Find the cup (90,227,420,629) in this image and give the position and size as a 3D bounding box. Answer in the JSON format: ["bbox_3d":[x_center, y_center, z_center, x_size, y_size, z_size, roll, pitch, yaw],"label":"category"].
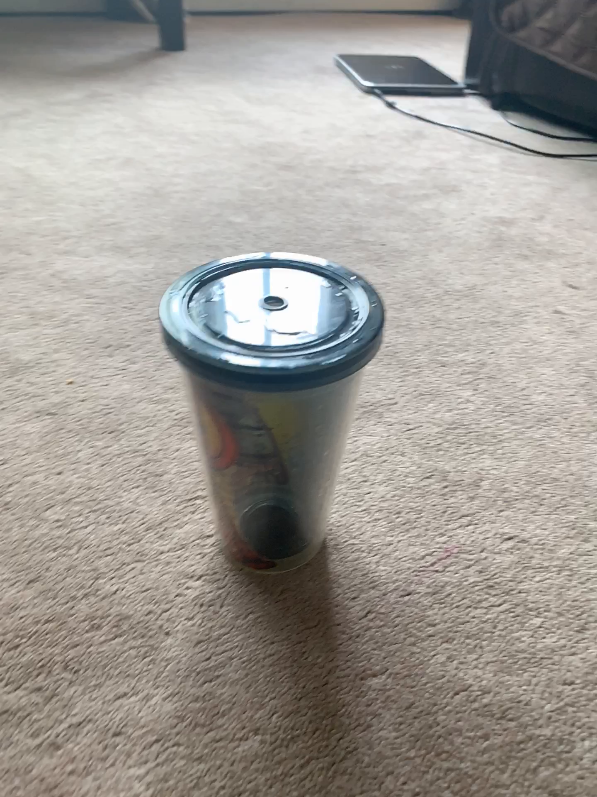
[{"bbox_3d":[-0.023,0.010,0.304,0.100,0.139,0.100,2,37,-2],"label":"cup"}]
